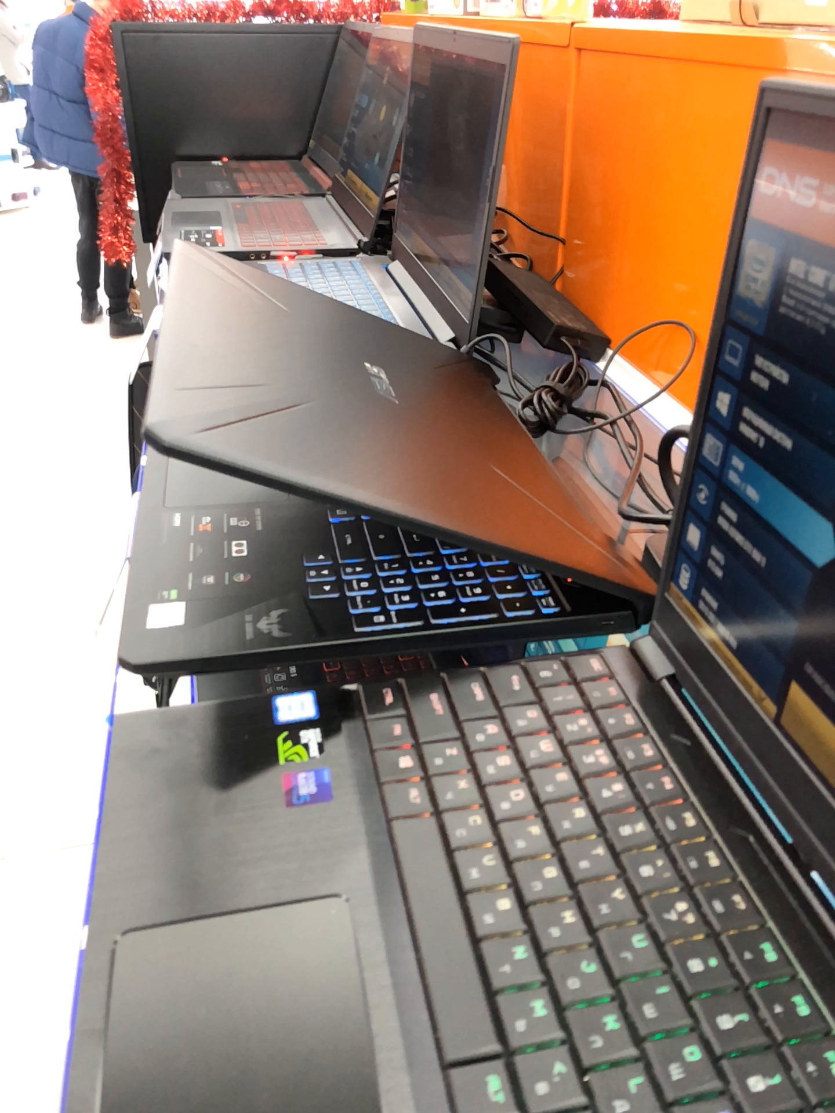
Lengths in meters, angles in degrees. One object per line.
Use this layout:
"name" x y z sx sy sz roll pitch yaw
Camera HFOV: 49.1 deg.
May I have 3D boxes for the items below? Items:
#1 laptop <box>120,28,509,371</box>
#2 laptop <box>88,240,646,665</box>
"laptop" -0.103 -0.362 0.869 0.283 0.235 0.358 -6 31 -10
"laptop" -0.053 -0.096 0.559 0.239 0.106 0.348 -6 32 -11
